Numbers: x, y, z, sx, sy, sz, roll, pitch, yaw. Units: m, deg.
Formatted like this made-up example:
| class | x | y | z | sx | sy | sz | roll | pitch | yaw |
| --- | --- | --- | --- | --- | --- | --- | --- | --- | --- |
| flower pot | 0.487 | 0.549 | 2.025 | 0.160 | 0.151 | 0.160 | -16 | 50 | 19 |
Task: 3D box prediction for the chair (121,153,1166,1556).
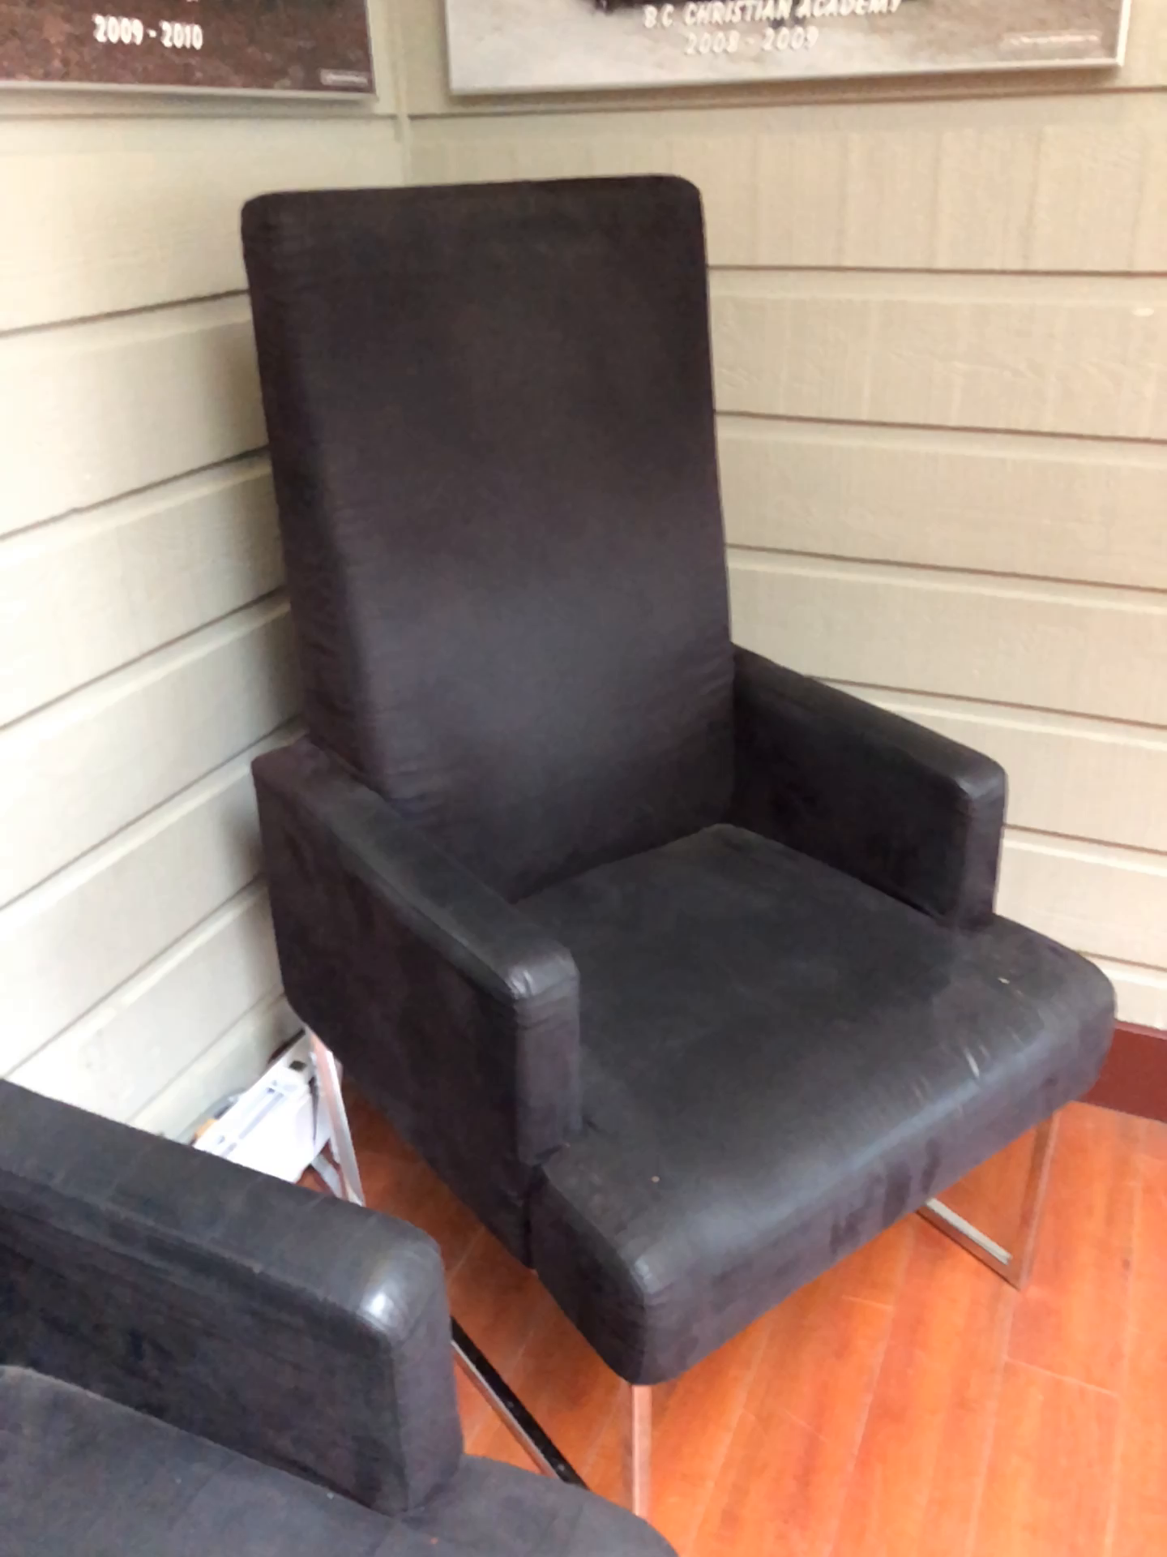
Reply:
| class | x | y | z | sx | sy | sz | roll | pitch | yaw |
| --- | --- | --- | --- | --- | --- | --- | --- | --- | --- |
| chair | 0.082 | 0.007 | 1.234 | 0.631 | 1.083 | 0.703 | -20 | 31 | -32 |
